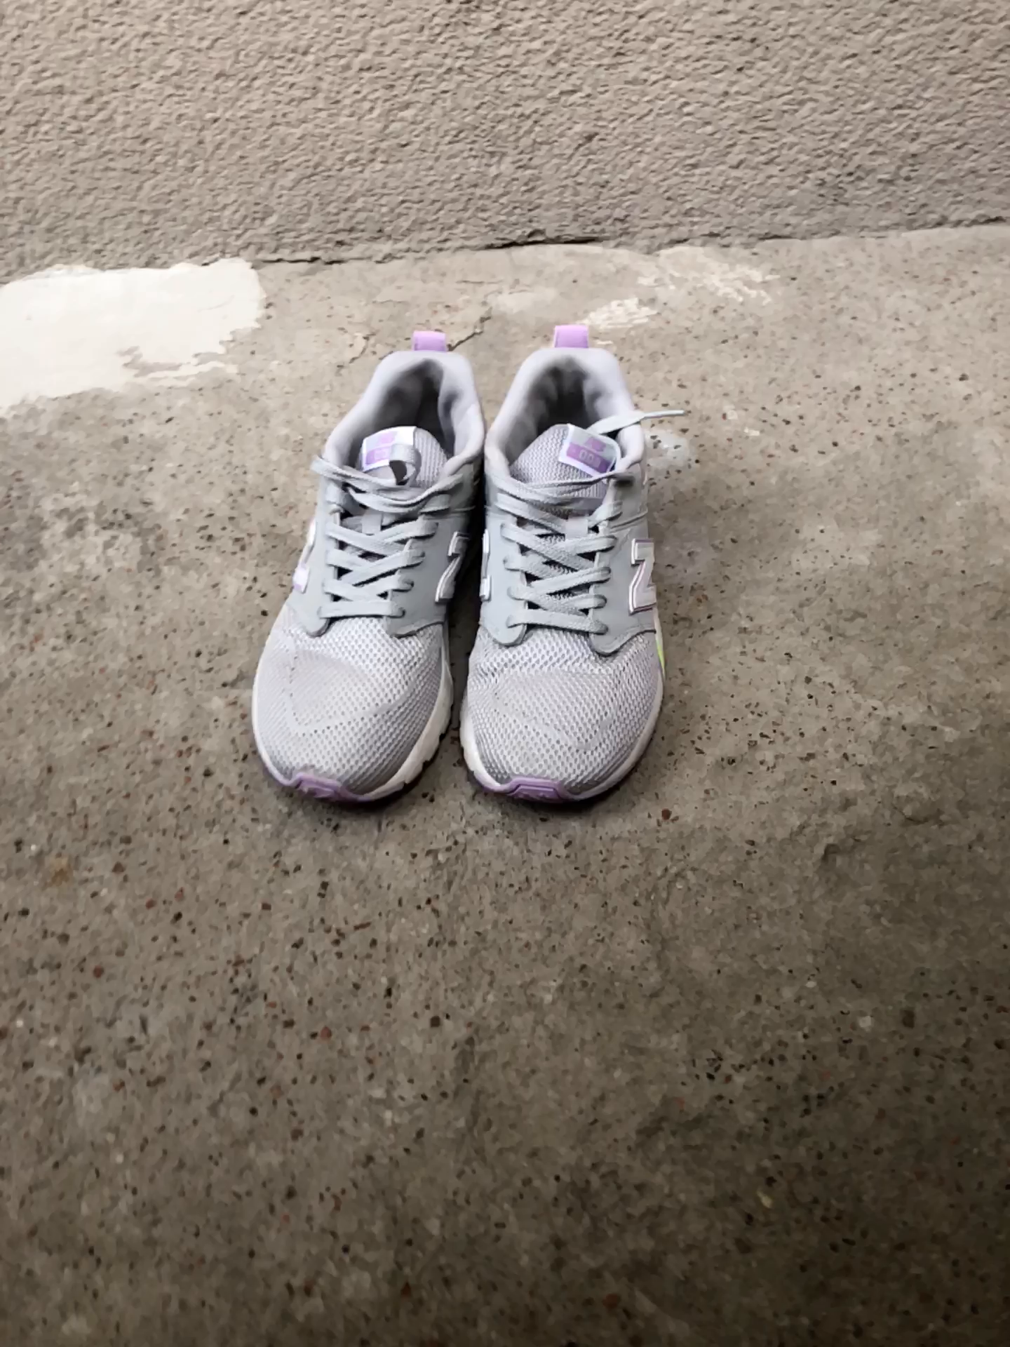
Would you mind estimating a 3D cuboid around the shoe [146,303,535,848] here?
[{"bbox_3d":[-0.065,-0.062,0.569,0.110,0.099,0.272,8,54,9],"label":"shoe"}]

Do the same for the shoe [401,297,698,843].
[{"bbox_3d":[0.033,-0.064,0.559,0.110,0.099,0.272,5,53,6],"label":"shoe"}]
